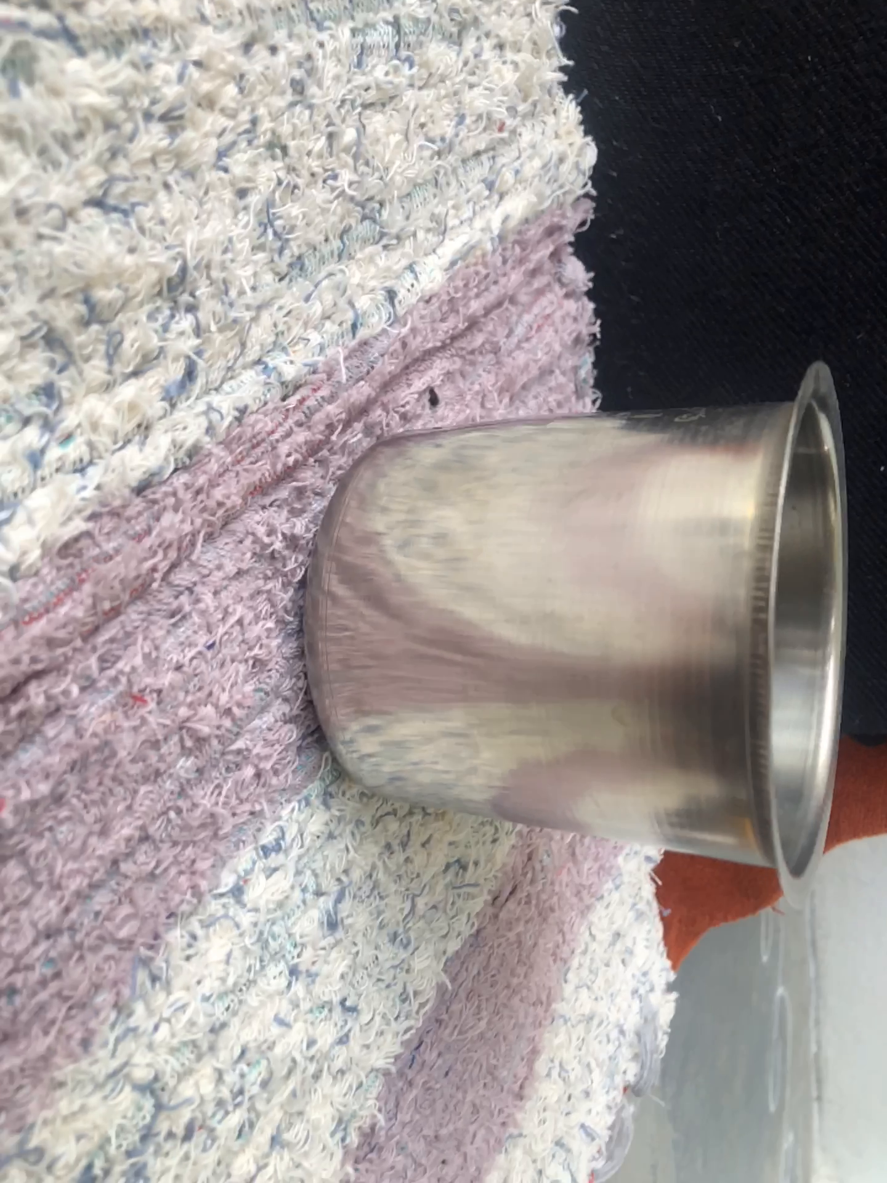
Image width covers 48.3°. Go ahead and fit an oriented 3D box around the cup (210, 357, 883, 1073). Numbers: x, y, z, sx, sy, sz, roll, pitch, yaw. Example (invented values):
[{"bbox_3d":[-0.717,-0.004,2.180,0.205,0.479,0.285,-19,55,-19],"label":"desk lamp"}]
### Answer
[{"bbox_3d":[0.032,0.011,0.209,0.101,0.099,0.100,-16,108,-61],"label":"cup"}]
